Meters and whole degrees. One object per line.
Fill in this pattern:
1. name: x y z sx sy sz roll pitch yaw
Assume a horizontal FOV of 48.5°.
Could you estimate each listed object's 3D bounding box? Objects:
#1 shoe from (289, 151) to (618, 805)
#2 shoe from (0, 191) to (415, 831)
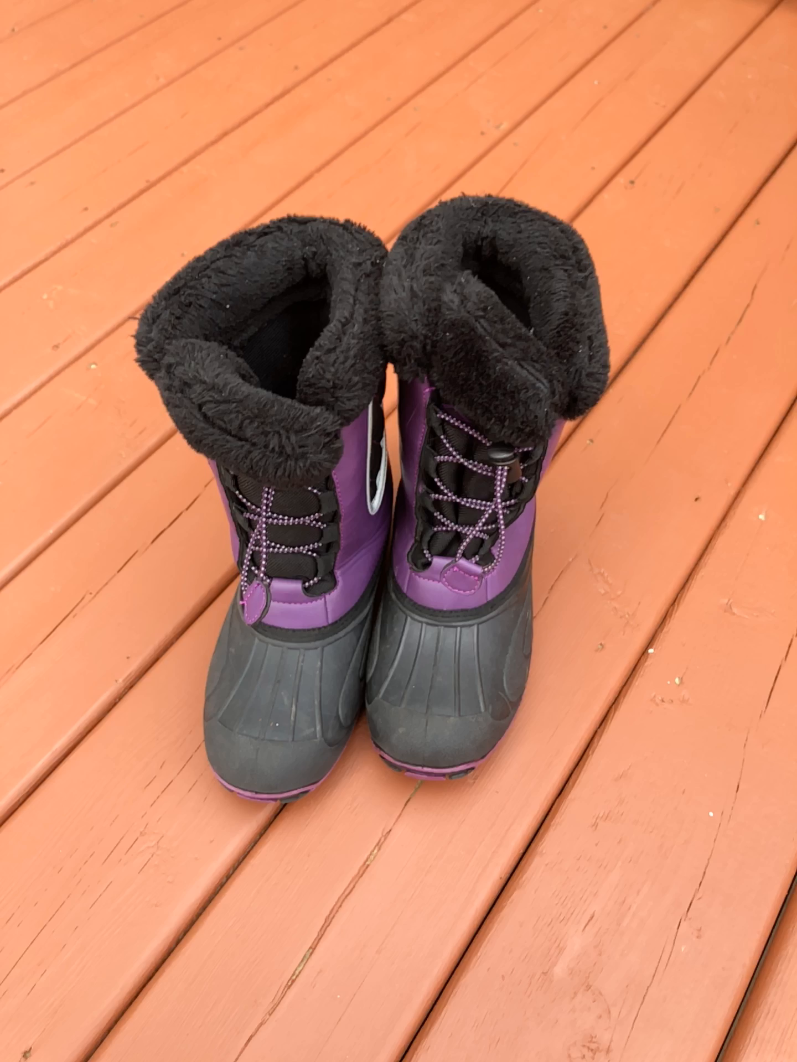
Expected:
1. shoe: 0.041 -0.018 0.505 0.120 0.279 0.241 6 54 7
2. shoe: -0.076 0.000 0.520 0.120 0.279 0.241 9 54 9
